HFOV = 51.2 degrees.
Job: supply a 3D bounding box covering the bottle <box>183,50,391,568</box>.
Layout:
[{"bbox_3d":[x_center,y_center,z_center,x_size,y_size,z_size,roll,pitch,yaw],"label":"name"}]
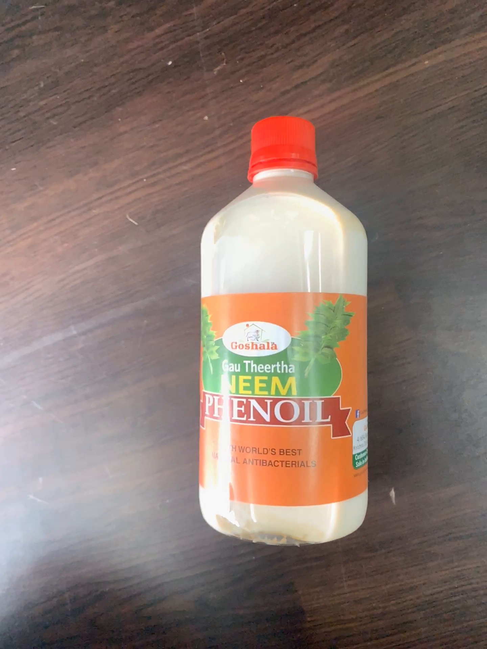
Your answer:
[{"bbox_3d":[0.023,-0.006,0.230,0.080,0.070,0.190,0,90,13],"label":"bottle"}]
